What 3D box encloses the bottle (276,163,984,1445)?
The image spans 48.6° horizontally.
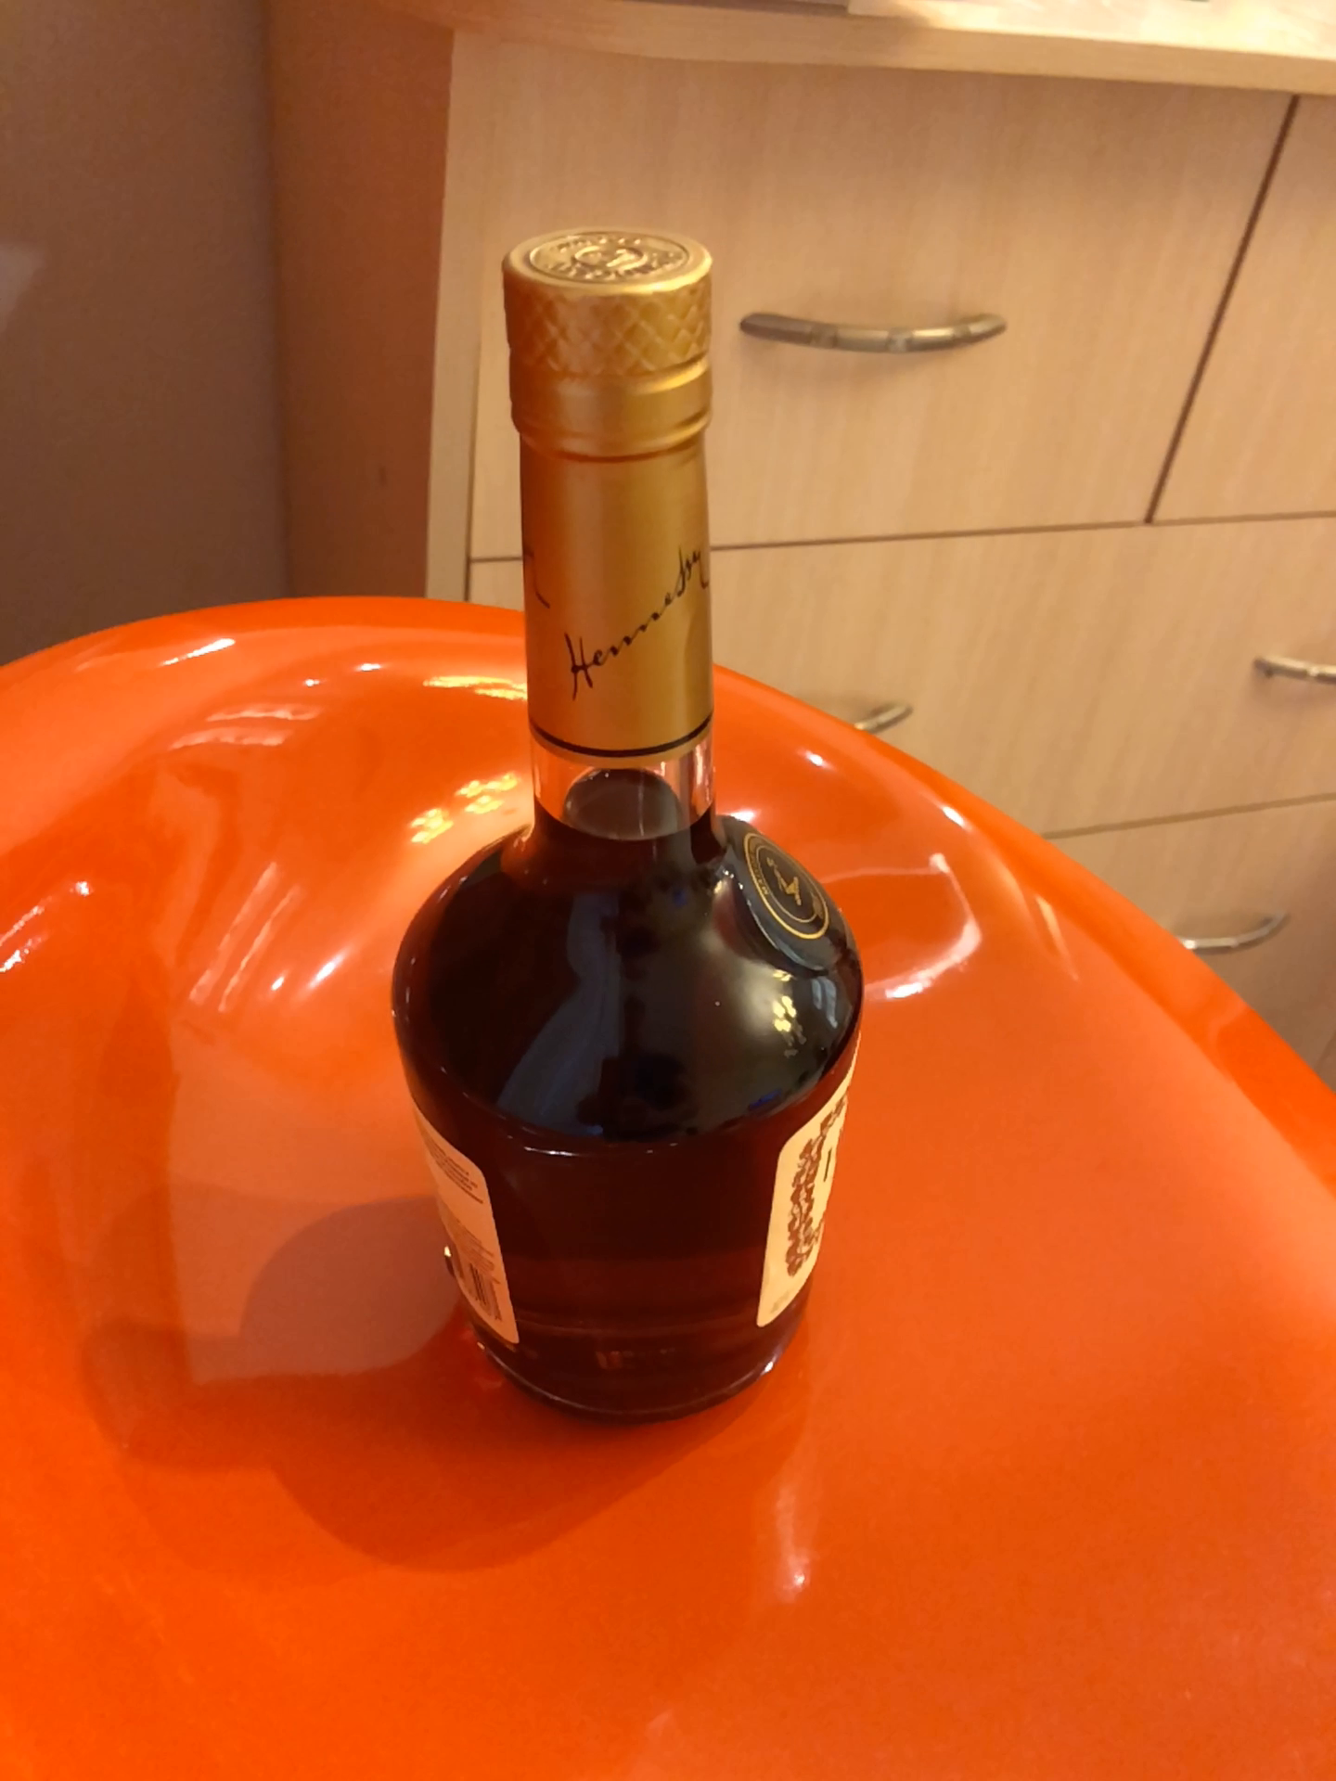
[{"bbox_3d":[-0.006,0.000,0.264,0.079,0.218,0.080,1,38,-1],"label":"bottle"}]
